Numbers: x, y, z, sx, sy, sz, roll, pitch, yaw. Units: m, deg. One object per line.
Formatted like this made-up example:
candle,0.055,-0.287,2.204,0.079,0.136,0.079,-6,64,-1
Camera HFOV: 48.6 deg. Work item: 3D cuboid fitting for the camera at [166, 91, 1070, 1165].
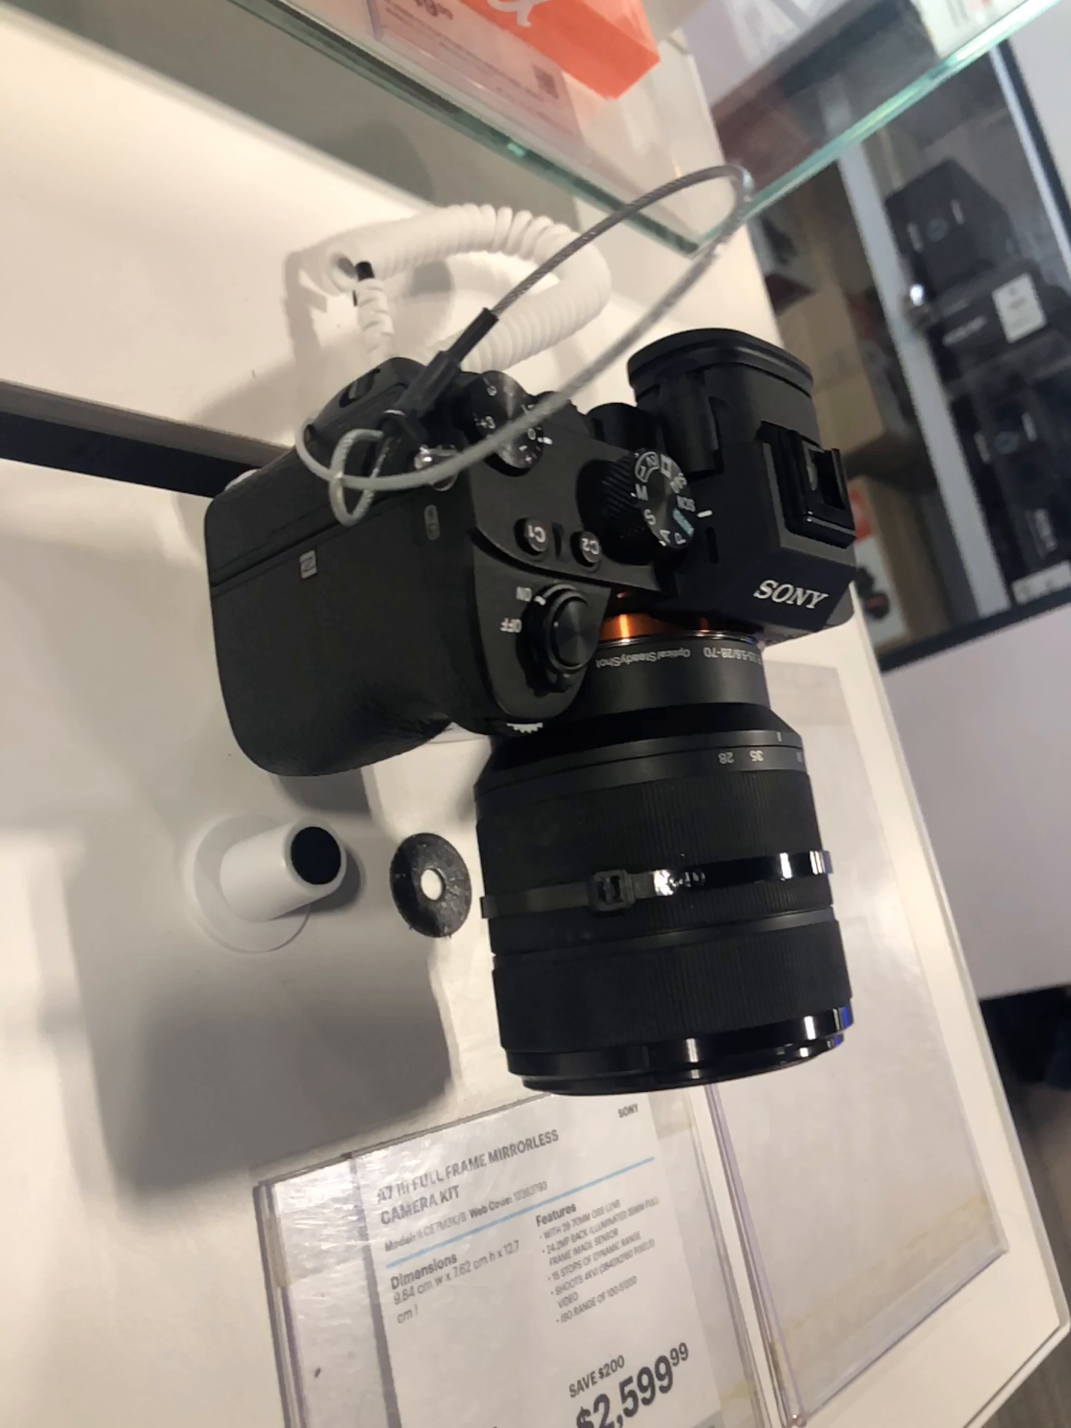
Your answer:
camera,0.022,-0.004,0.218,0.121,0.099,0.130,2,71,-49
